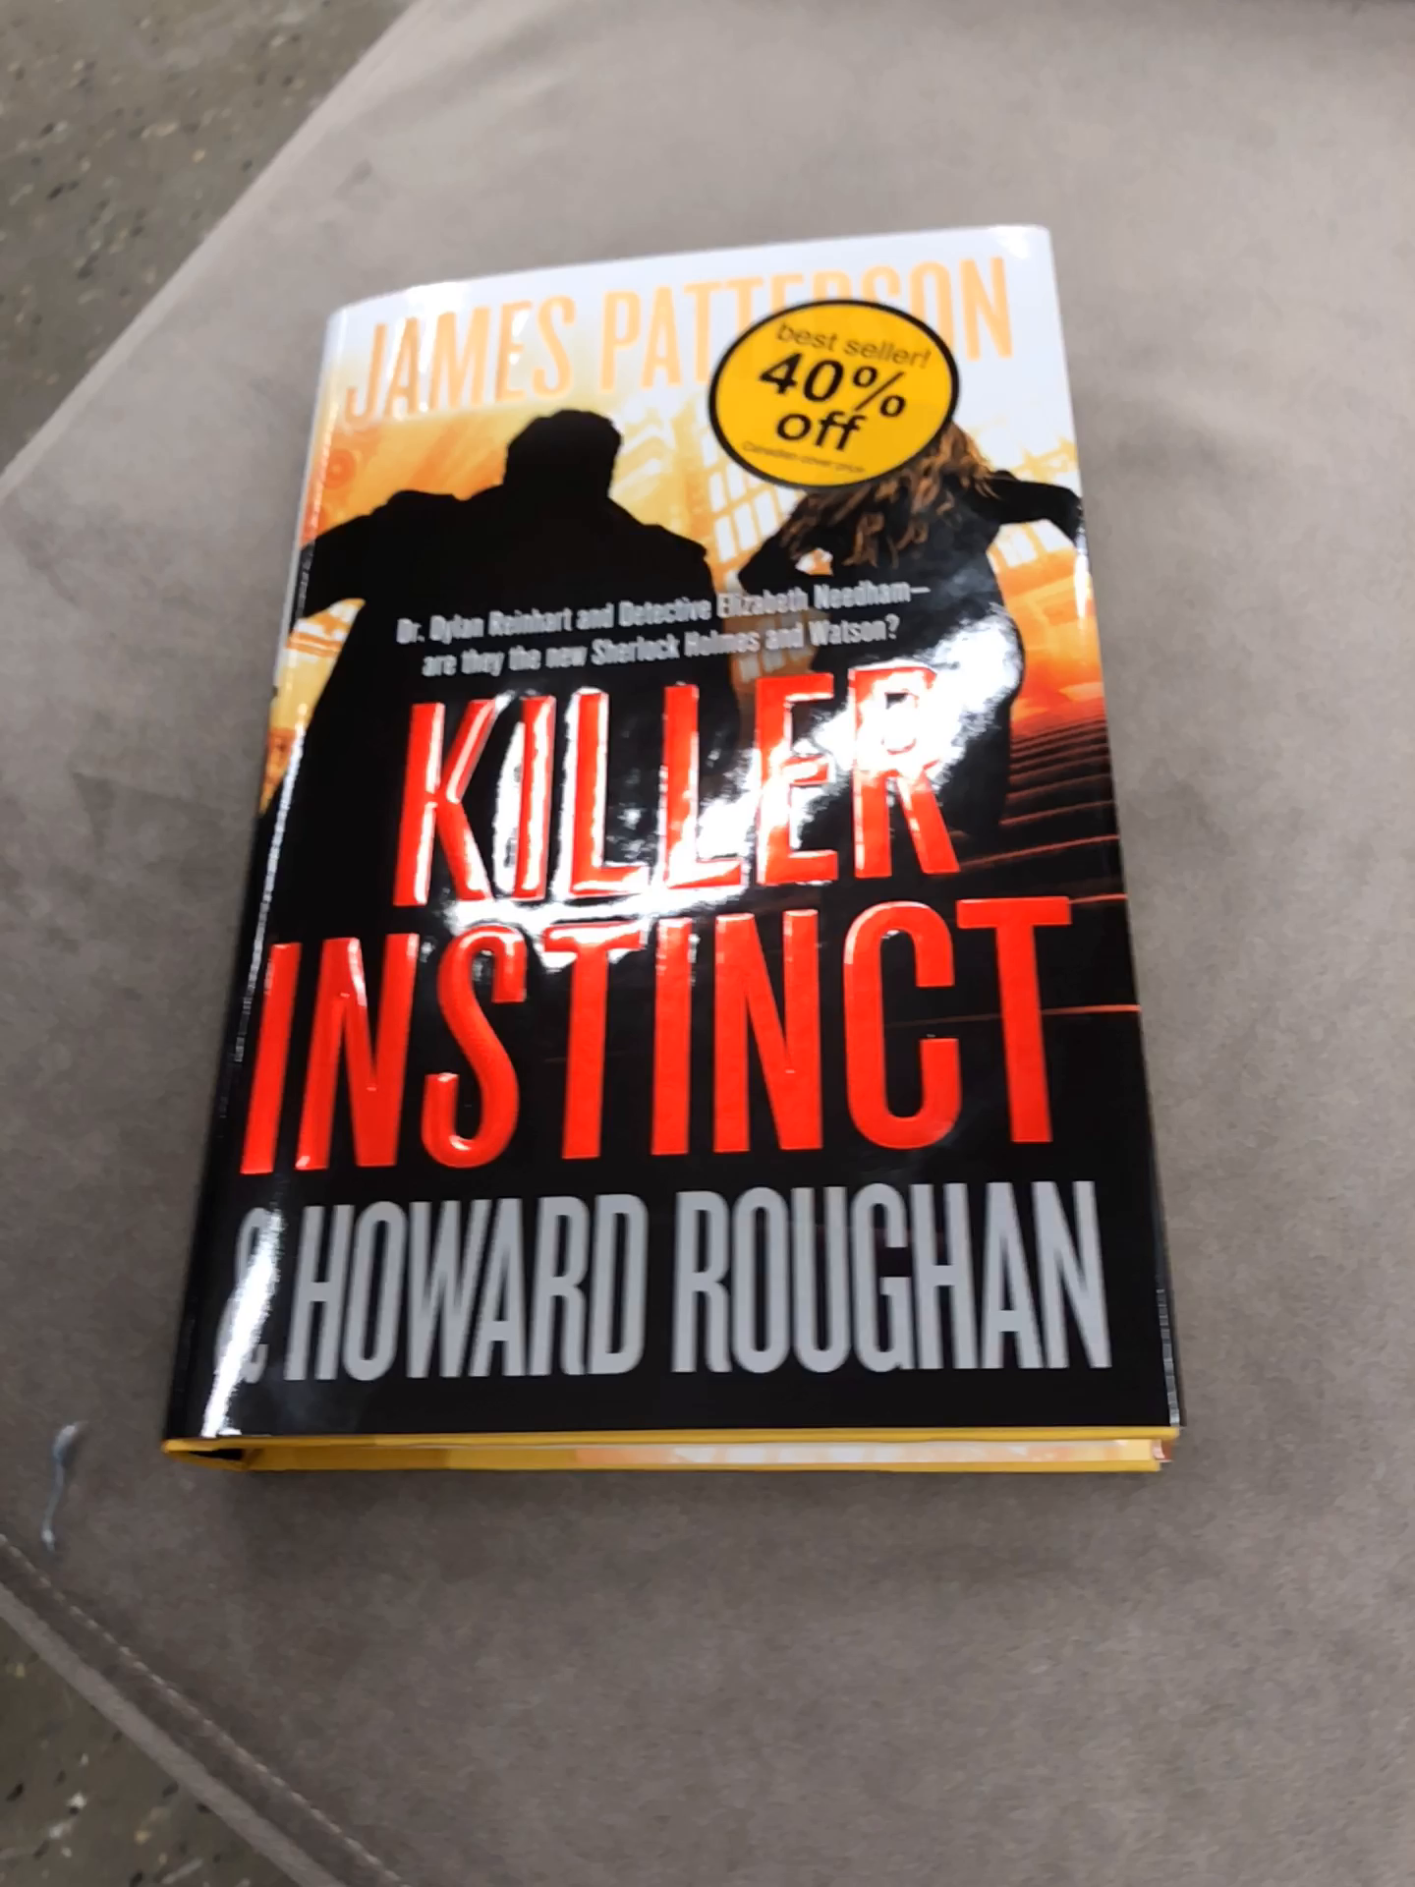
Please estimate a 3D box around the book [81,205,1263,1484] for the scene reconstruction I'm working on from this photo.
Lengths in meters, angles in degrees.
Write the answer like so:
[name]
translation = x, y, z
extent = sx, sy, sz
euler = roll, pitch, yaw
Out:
[book]
translation = -0.005, -0.027, 0.294
extent = 0.172, 0.038, 0.238
euler = -3, 65, 8
